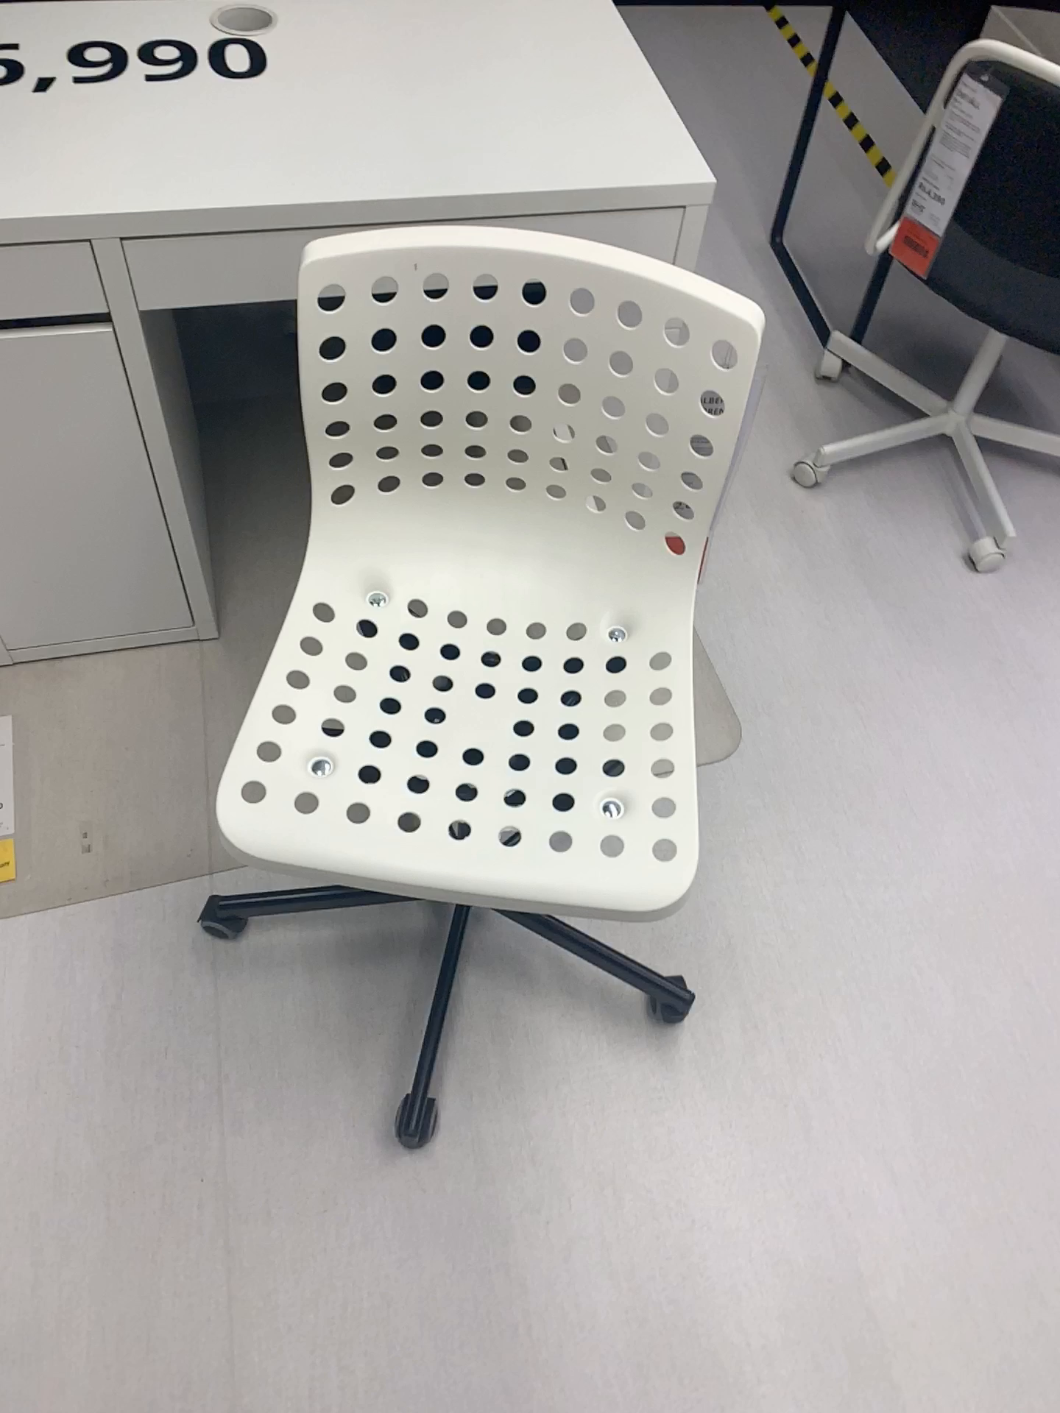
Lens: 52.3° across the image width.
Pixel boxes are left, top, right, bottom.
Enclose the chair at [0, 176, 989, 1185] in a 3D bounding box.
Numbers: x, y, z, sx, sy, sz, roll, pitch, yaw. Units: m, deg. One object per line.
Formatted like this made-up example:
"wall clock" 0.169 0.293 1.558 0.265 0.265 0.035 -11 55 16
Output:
"chair" -0.072 0.036 1.149 0.680 0.788 0.672 6 55 -1
